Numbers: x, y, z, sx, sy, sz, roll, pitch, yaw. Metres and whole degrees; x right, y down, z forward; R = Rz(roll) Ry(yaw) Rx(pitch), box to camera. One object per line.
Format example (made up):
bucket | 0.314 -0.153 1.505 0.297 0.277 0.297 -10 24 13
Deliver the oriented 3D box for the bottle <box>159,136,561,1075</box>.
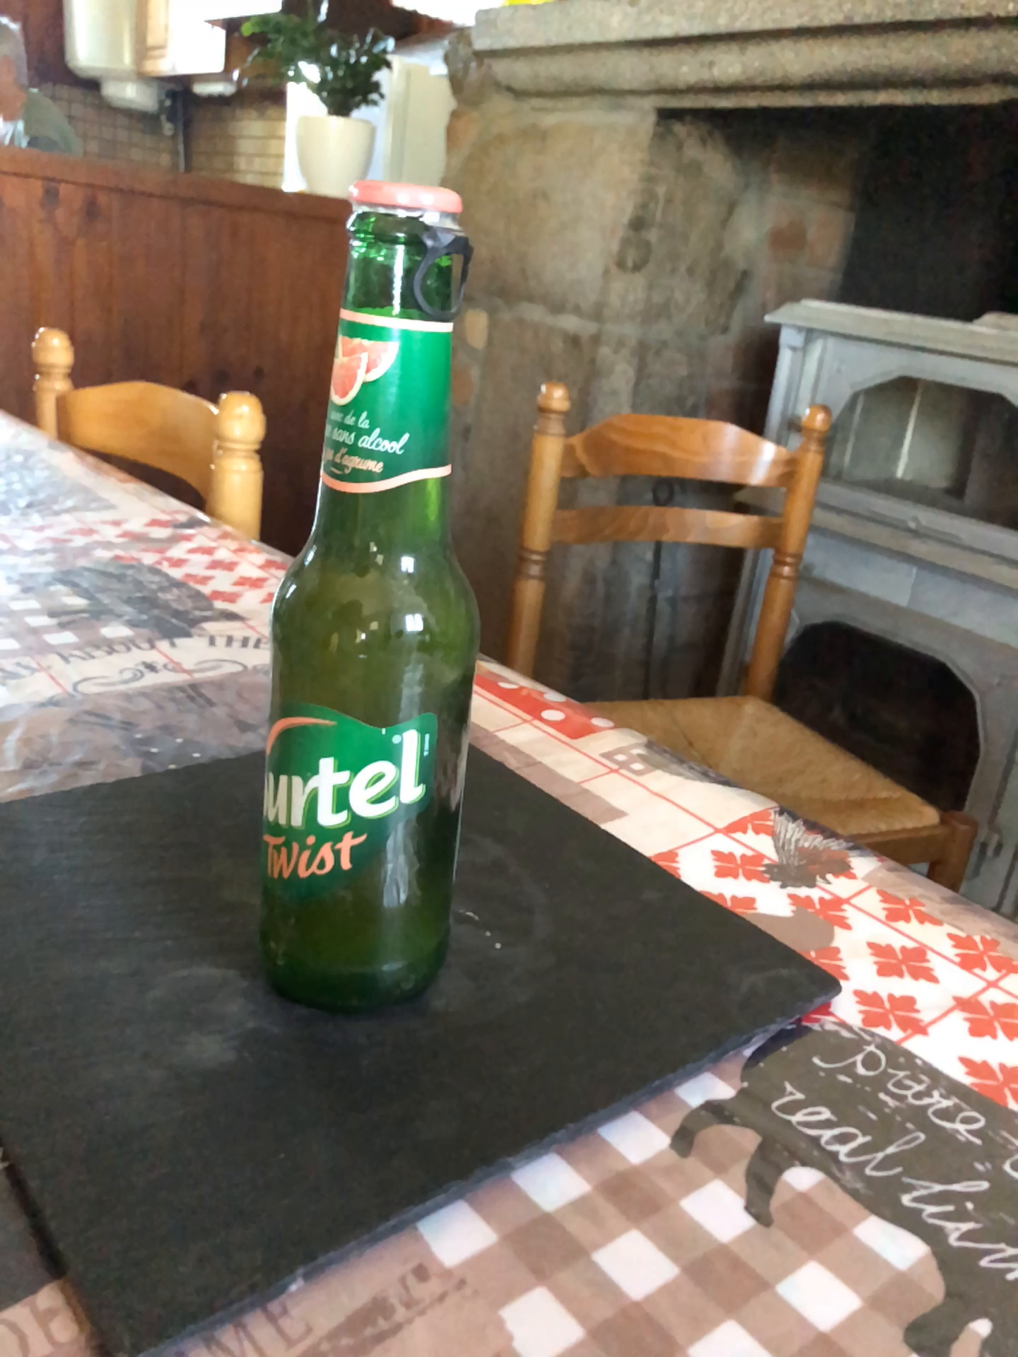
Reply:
bottle | -0.047 -0.017 0.308 0.070 0.229 0.060 21 24 34
